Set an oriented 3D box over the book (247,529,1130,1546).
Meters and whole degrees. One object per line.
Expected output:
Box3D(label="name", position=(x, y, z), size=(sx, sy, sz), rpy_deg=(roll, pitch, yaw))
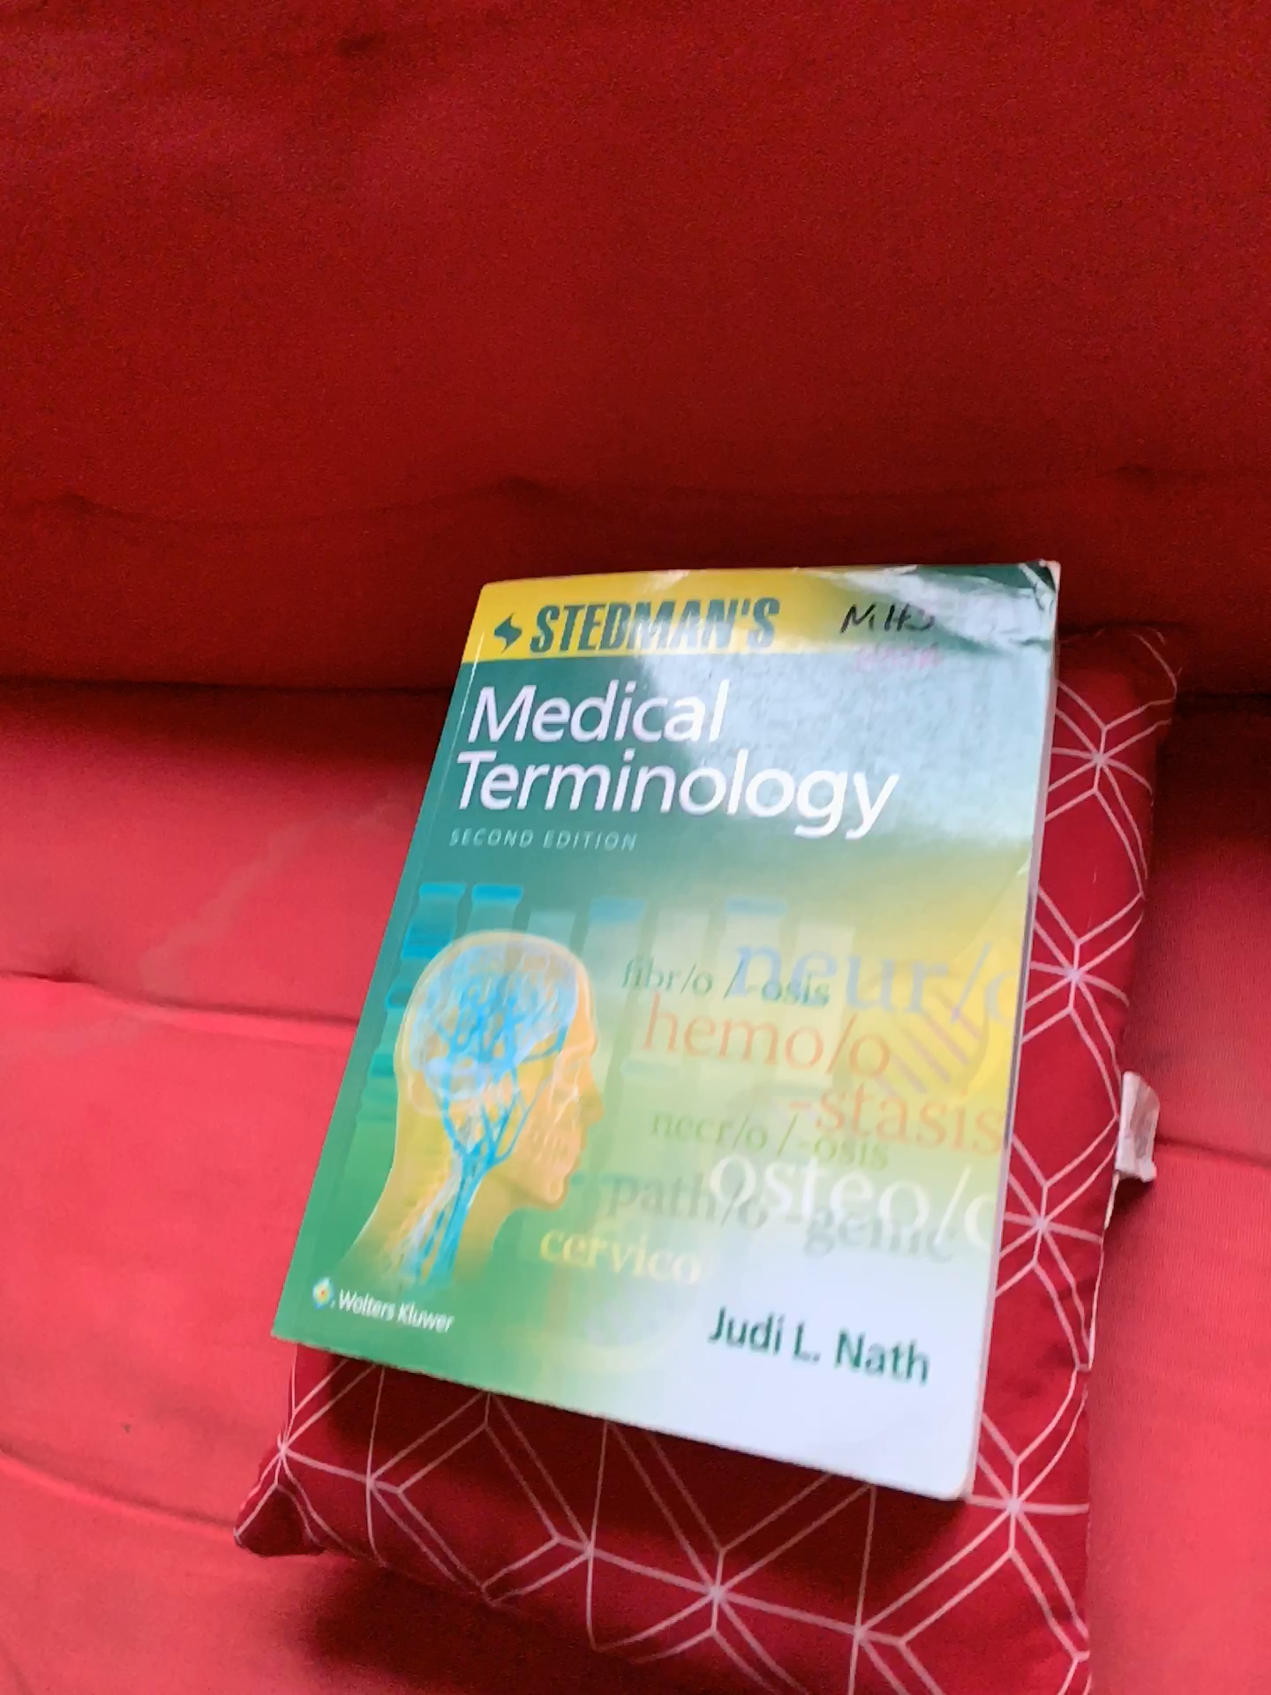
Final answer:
Box3D(label="book", position=(0.026, 0.034, 0.433), size=(0.240, 0.040, 0.300), rpy_deg=(4, 69, 21))
